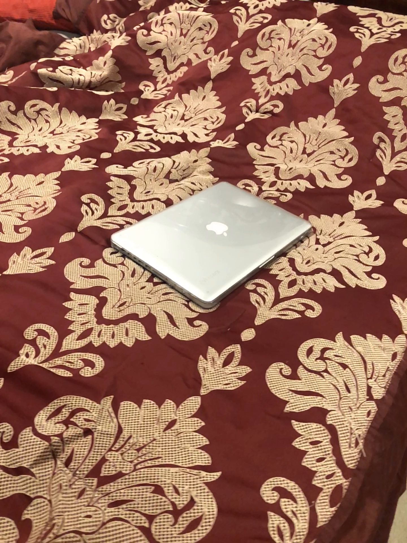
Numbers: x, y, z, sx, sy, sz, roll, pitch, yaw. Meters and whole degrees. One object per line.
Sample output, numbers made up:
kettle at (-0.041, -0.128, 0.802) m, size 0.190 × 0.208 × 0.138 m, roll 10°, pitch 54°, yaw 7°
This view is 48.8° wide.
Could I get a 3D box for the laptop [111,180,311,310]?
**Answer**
laptop at (0.025, -0.067, 0.795) m, size 0.208 × 0.015 × 0.305 m, roll 32°, pitch 46°, yaw 26°
